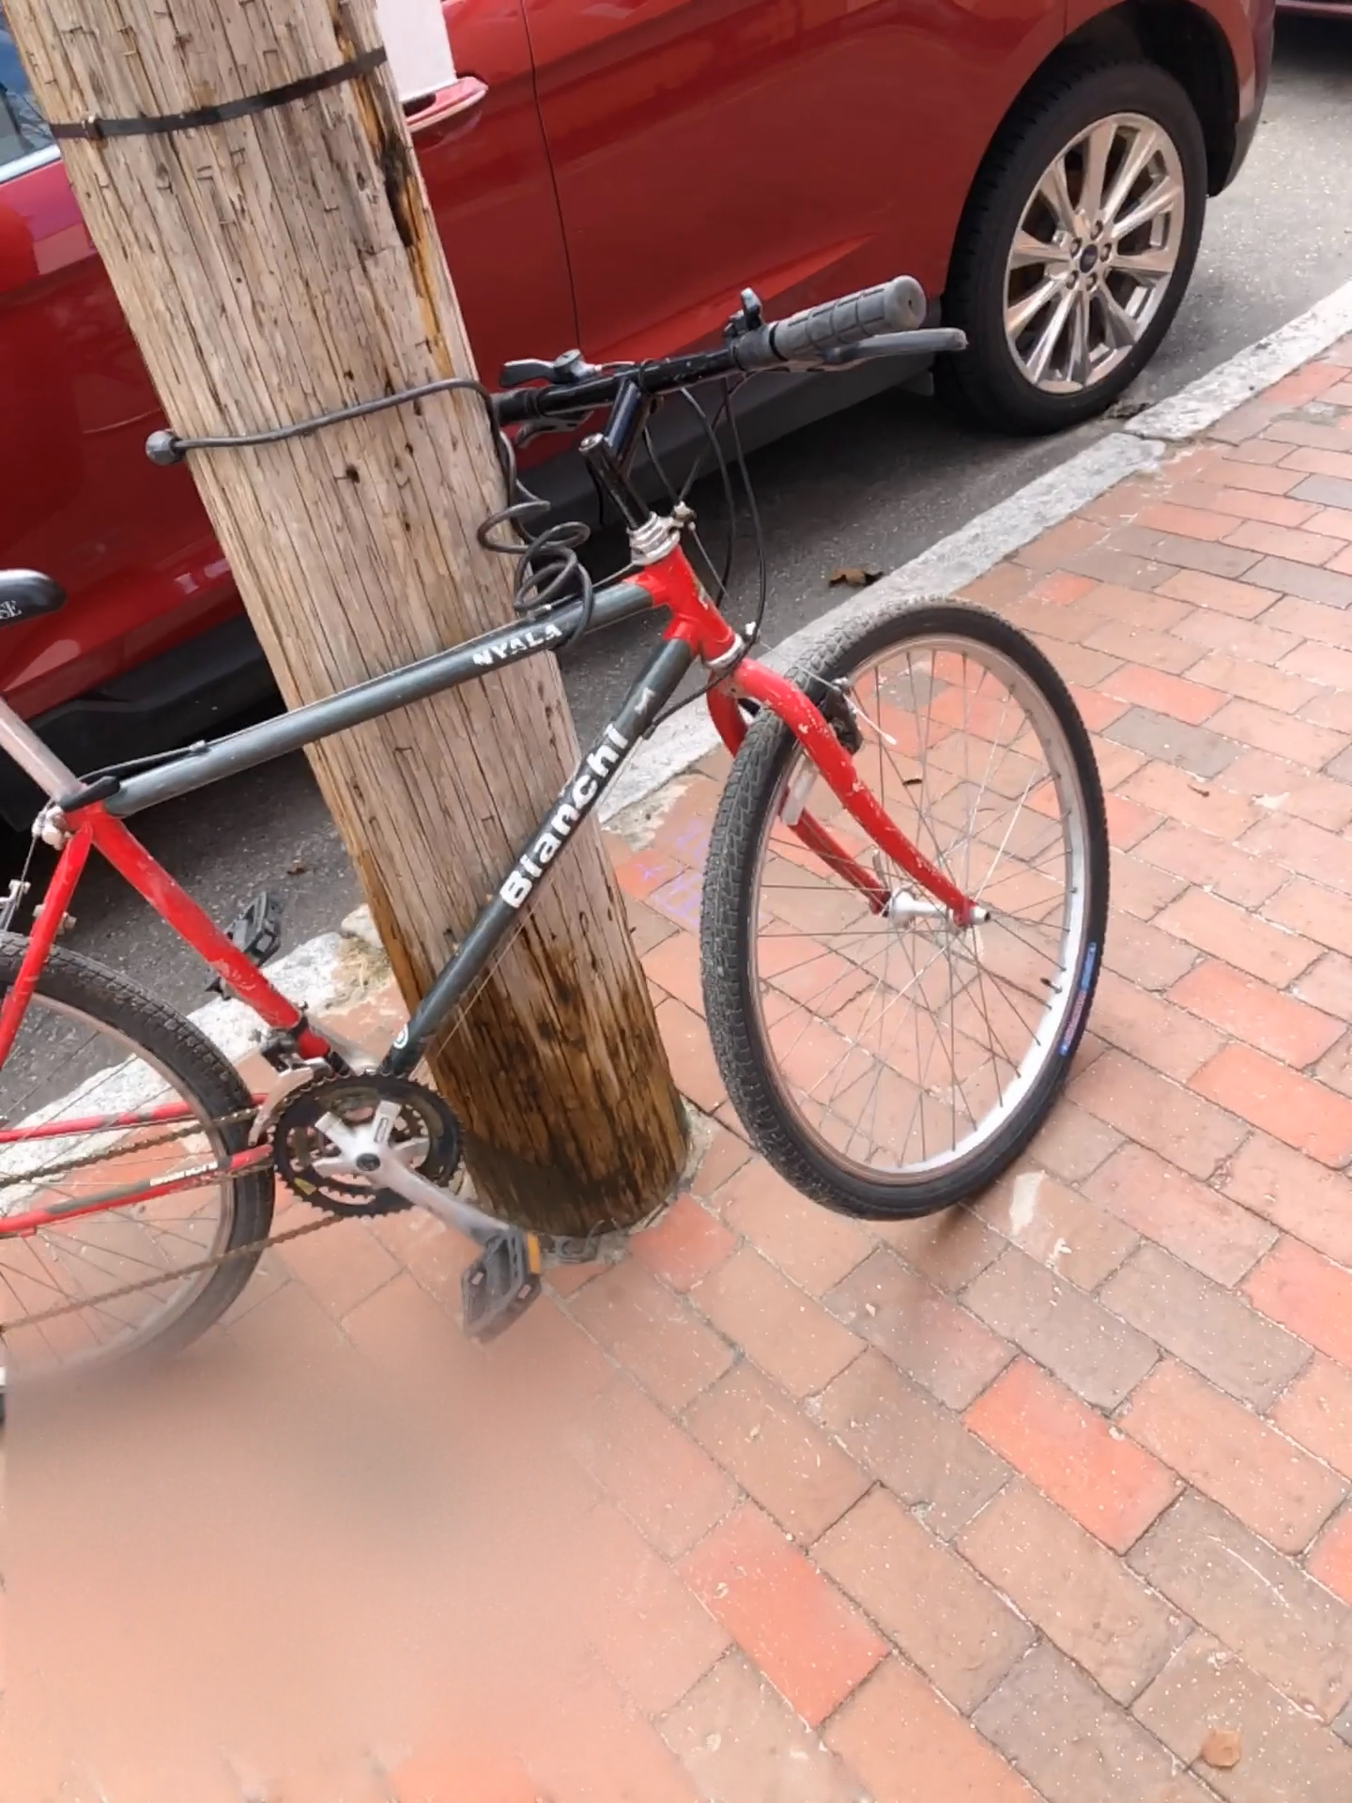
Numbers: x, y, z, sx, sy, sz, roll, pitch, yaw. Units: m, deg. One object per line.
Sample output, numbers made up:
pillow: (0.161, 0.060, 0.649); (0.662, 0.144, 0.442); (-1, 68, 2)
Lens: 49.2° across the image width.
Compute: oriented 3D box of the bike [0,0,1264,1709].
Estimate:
bike: (-0.315, -0.092, 1.387); (1.526, 0.983, 0.583); (-21, 39, -8)
